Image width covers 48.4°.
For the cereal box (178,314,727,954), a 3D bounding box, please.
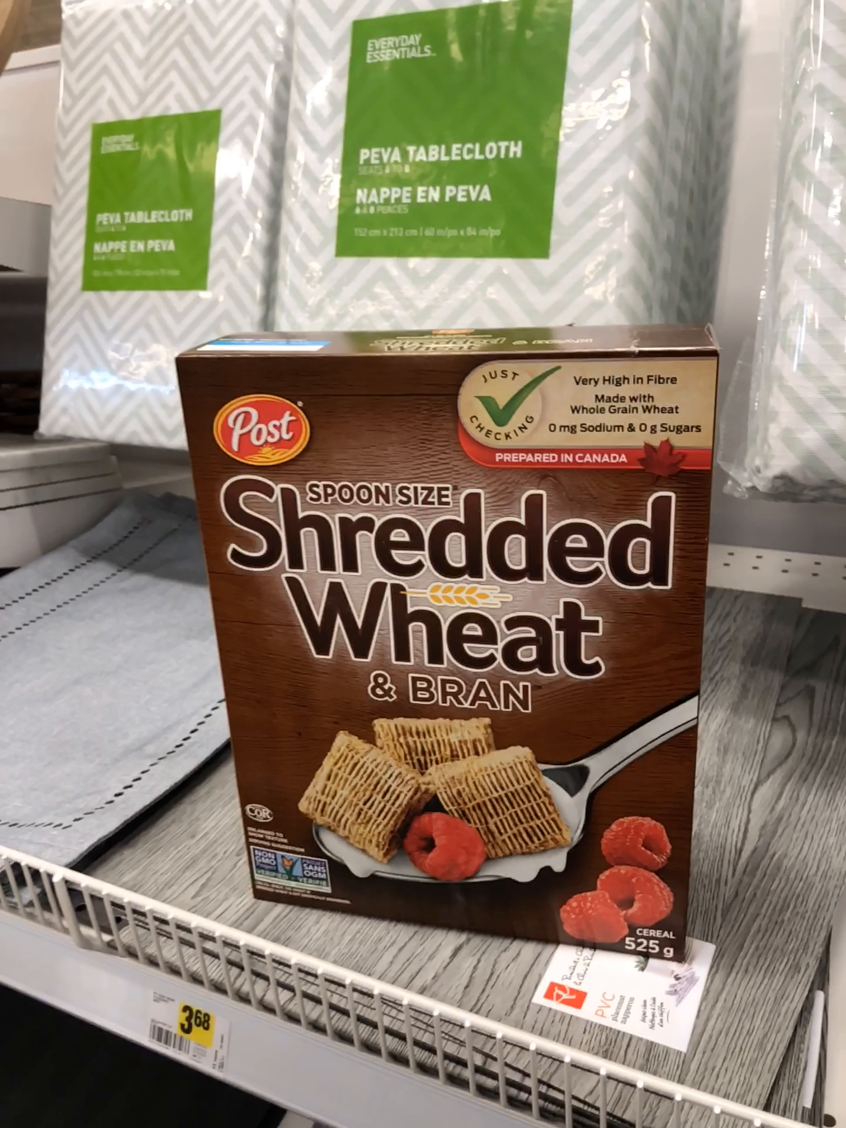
[{"bbox_3d":[0.017,0.029,0.414,0.200,0.259,0.070,3,23,15],"label":"cereal box"}]
